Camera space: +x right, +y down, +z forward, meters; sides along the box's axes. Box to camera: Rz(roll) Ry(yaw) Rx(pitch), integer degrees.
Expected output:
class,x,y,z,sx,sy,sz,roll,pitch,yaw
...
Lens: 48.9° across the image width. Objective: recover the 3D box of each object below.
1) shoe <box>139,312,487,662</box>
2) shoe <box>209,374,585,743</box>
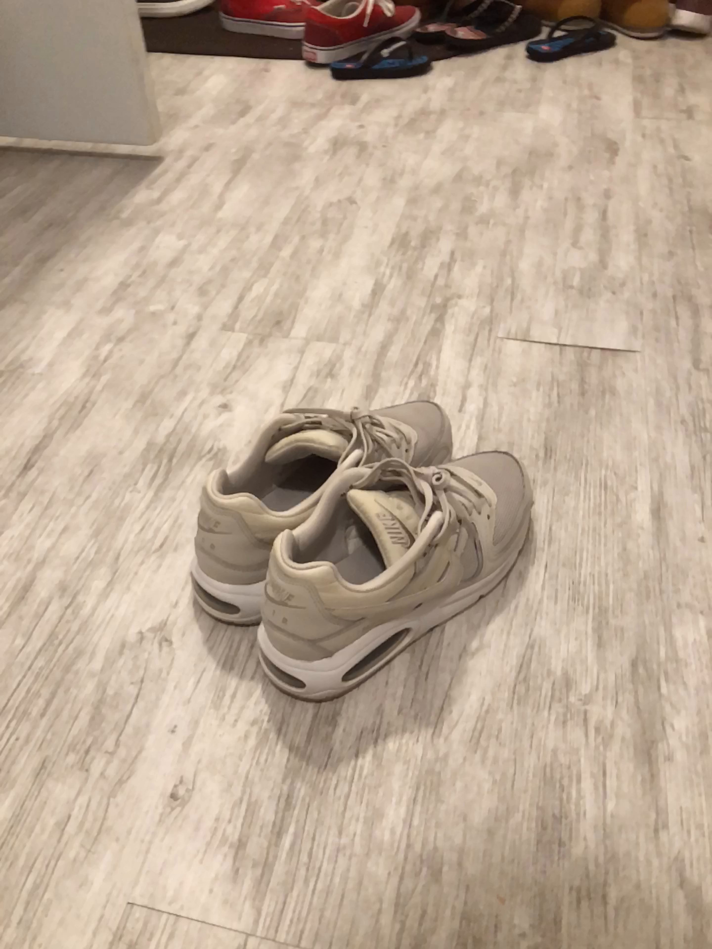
class,x,y,z,sx,sy,sz,roll,pitch,yaw
shoe,-0.020,-0.001,0.596,0.100,0.120,0.250,32,54,30
shoe,0.036,0.050,0.551,0.250,0.120,0.090,-32,52,-26
